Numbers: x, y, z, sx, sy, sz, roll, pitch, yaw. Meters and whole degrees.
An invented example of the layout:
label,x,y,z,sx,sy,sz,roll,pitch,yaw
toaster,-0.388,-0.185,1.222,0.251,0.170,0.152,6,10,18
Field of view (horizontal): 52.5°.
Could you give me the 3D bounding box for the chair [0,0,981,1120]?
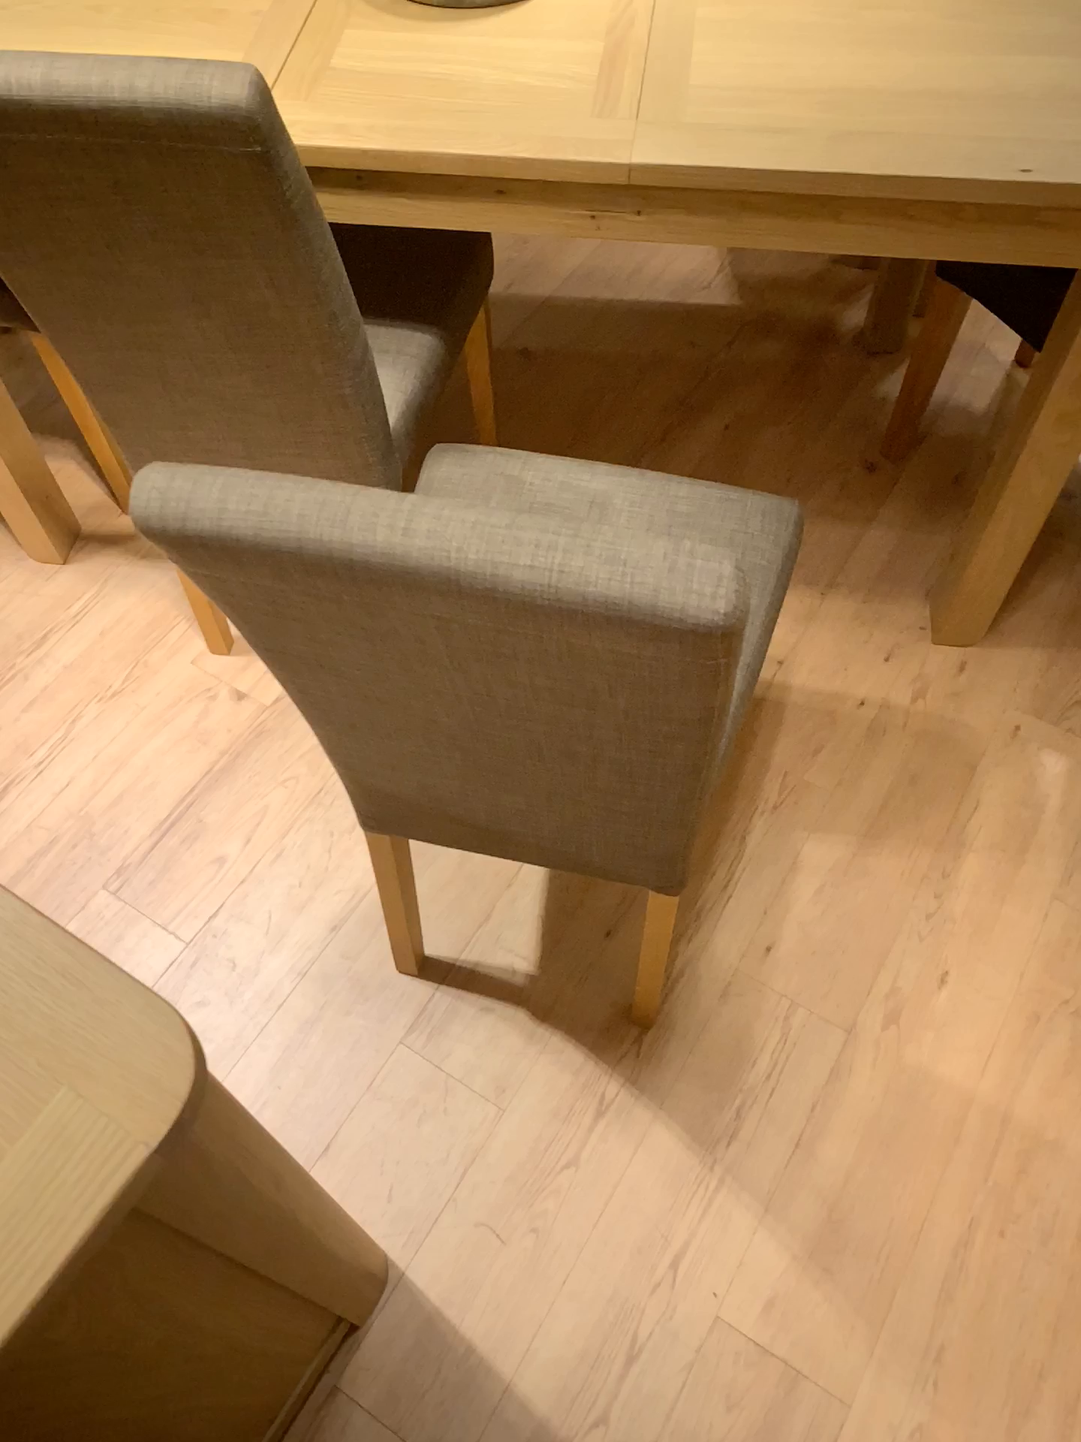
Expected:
label,x,y,z,sx,sy,sz,roll,pitch,yaw
chair,0.032,-0.089,1.094,0.490,0.953,0.614,11,57,8
